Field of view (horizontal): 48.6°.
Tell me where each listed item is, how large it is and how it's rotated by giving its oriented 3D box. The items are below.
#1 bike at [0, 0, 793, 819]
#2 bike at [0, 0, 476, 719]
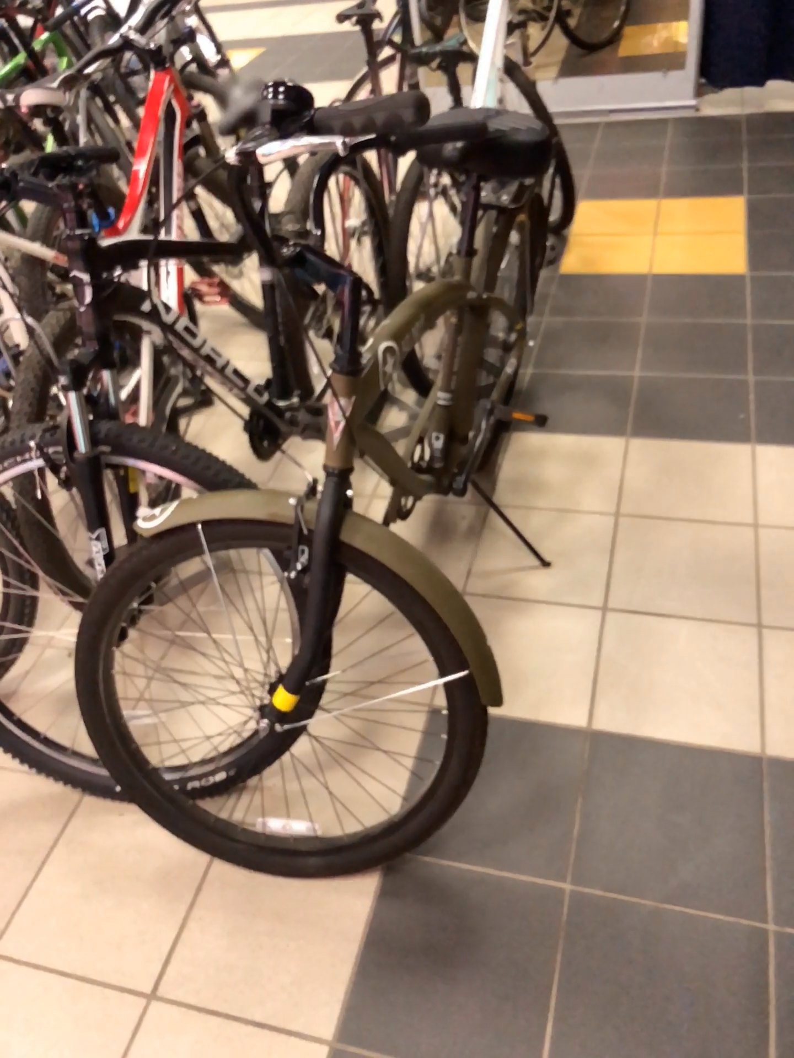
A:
[{"bbox_3d":[-0.022,-0.452,1.594,0.833,1.130,1.500,17,44,29],"label":"bike"},{"bbox_3d":[-0.449,-0.361,1.565,0.664,1.228,0.976,13,38,25],"label":"bike"}]
